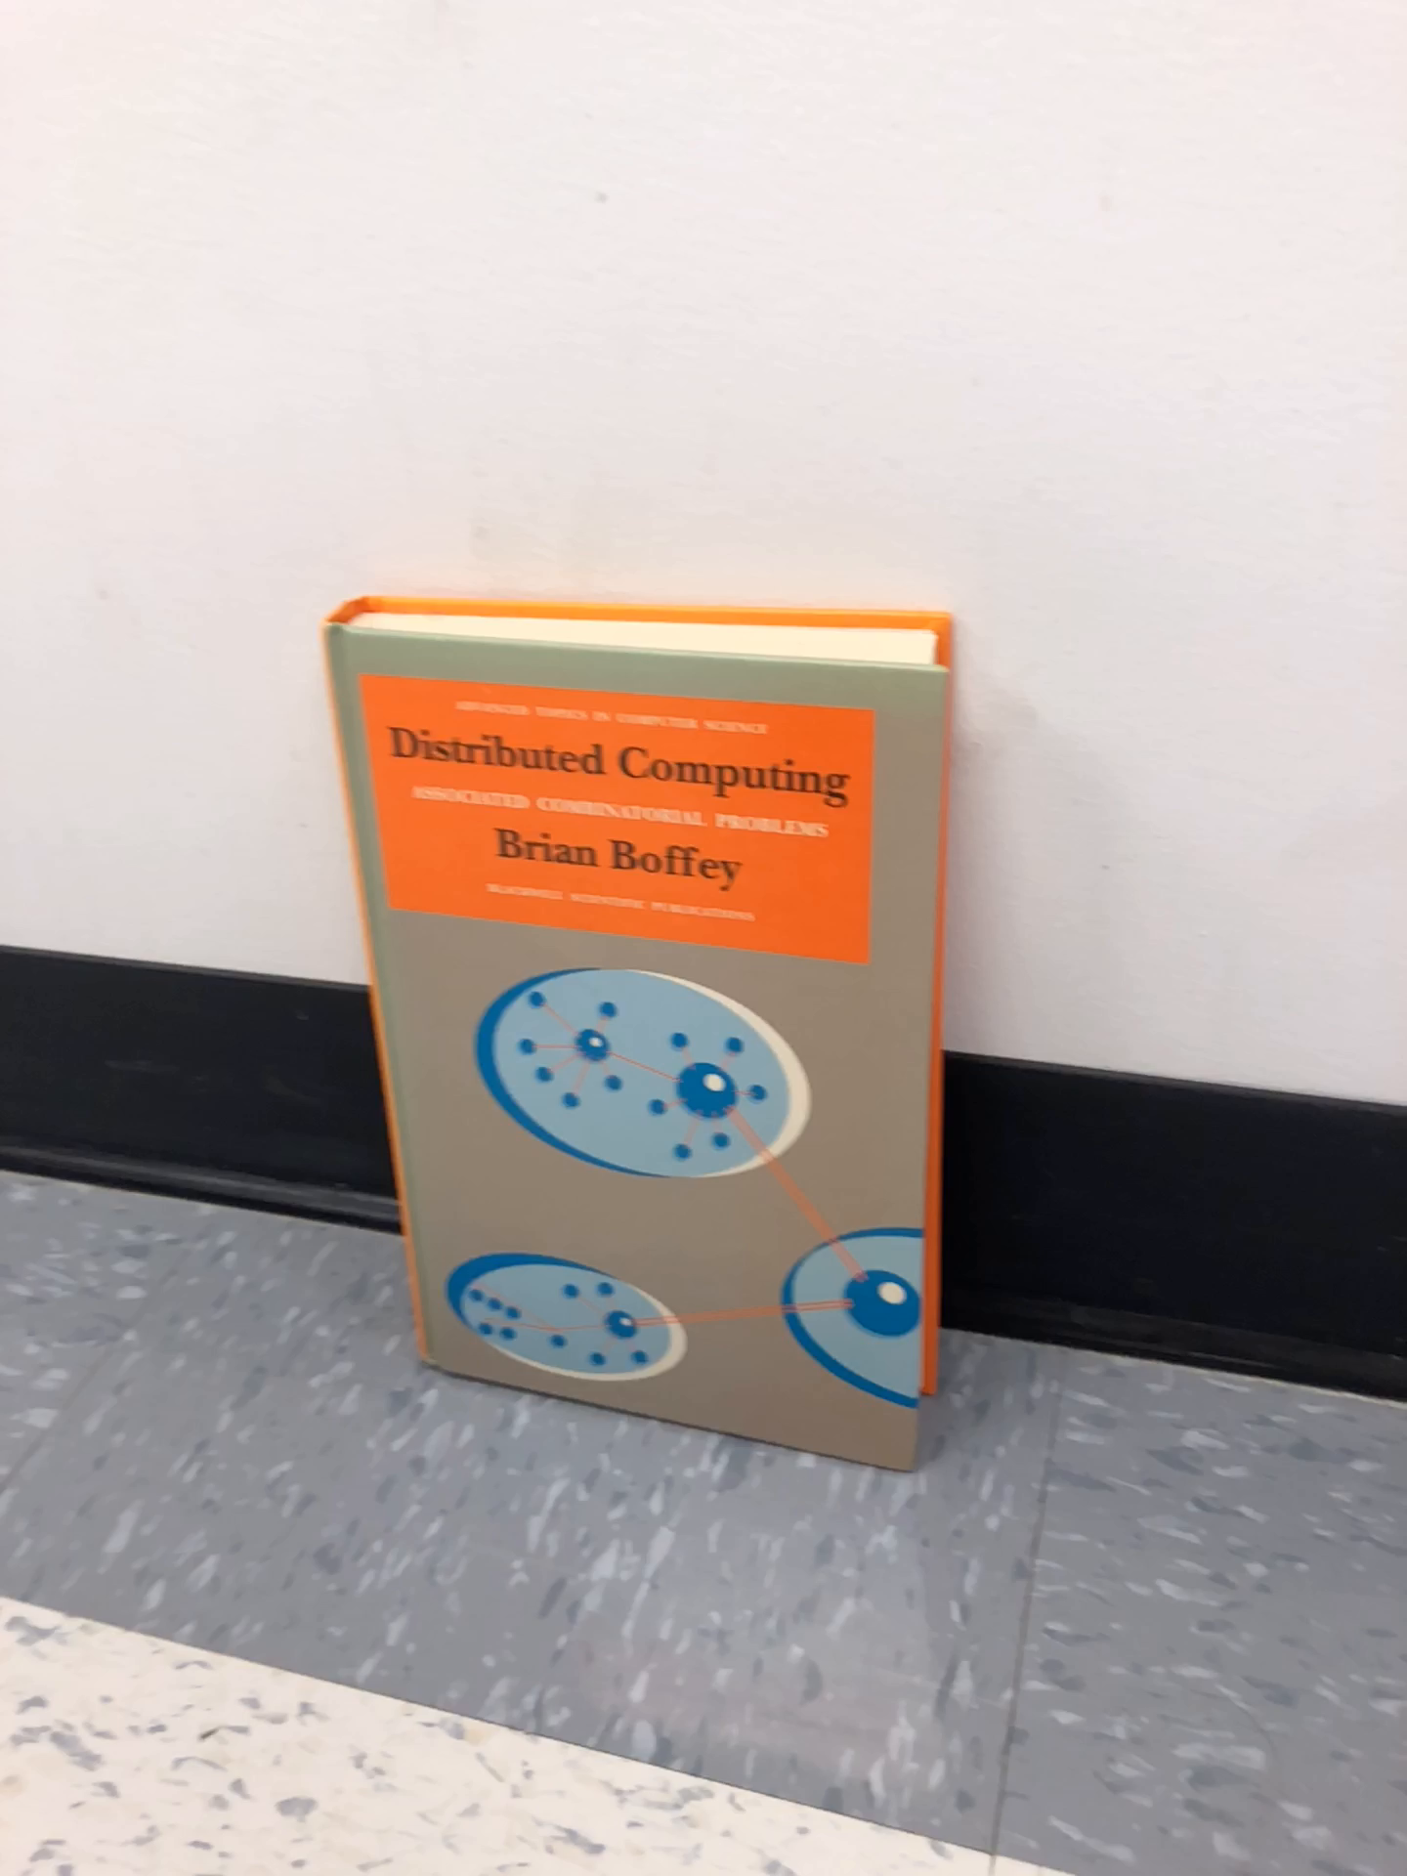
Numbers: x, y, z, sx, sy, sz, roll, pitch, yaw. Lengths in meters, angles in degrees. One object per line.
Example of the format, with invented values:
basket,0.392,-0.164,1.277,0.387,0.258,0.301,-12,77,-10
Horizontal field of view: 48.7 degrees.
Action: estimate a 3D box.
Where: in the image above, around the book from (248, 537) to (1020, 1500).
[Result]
book,-0.011,0.023,0.408,0.170,0.239,0.050,6,28,18
